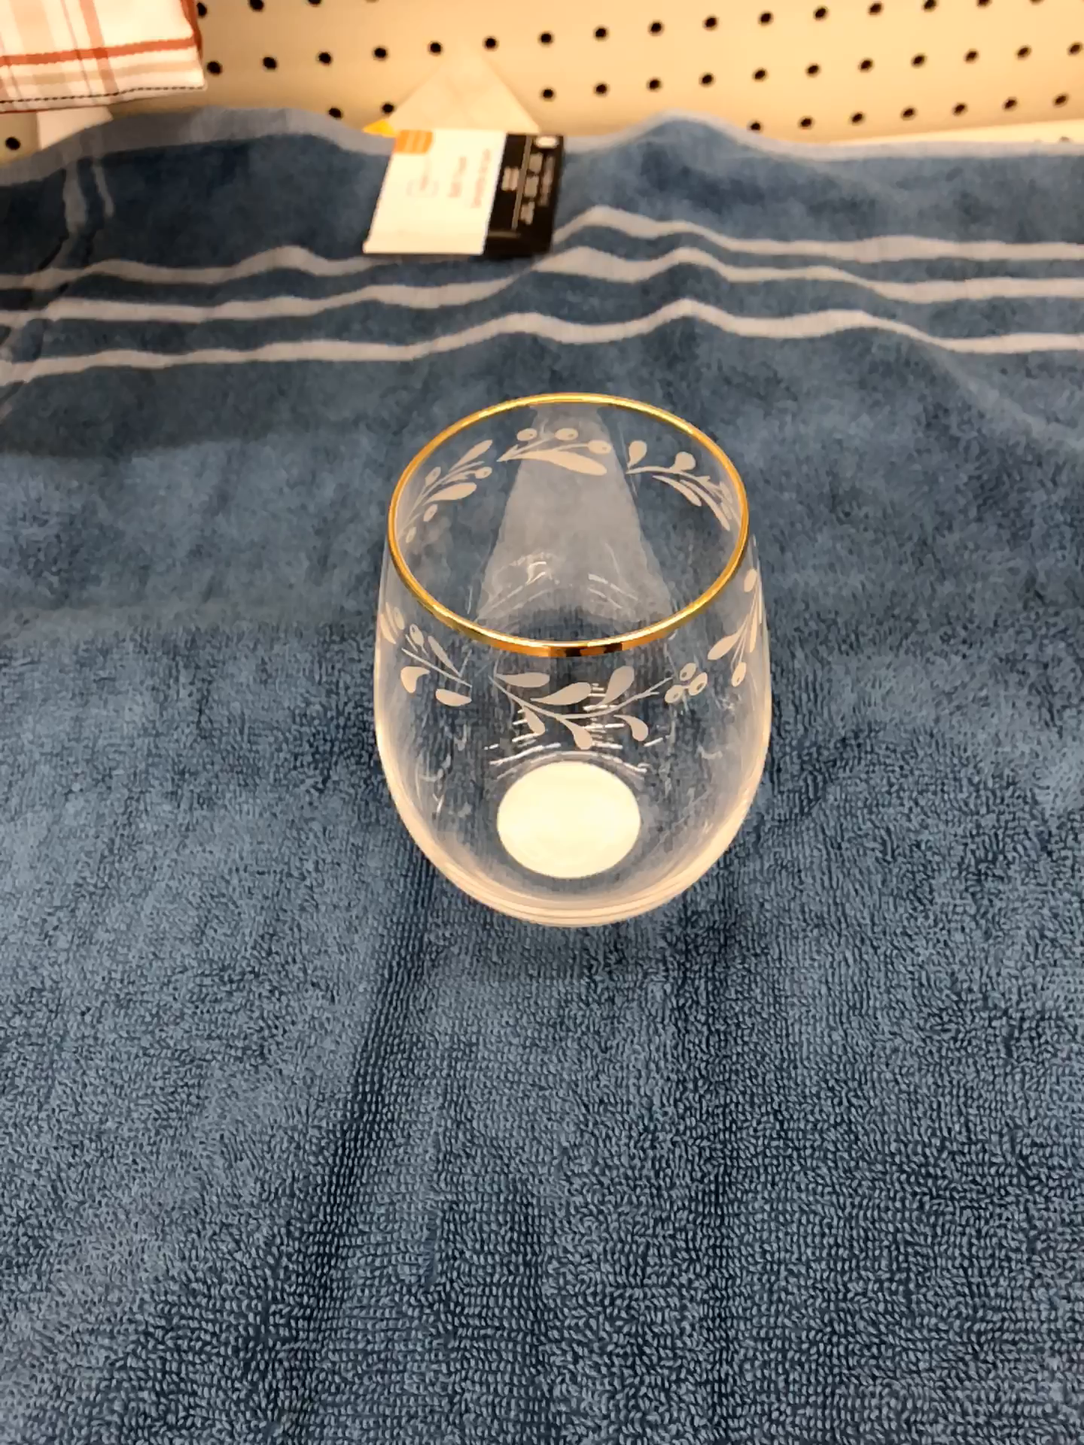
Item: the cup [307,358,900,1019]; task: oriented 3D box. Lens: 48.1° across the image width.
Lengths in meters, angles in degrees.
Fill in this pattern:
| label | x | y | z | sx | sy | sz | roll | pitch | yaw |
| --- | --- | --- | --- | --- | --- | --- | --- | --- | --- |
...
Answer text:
| label | x | y | z | sx | sy | sz | roll | pitch | yaw |
| --- | --- | --- | --- | --- | --- | --- | --- | --- | --- |
| cup | 0.010 | -0.003 | 0.252 | 0.090 | 0.100 | 0.090 | -2 | 53 | 2 |
